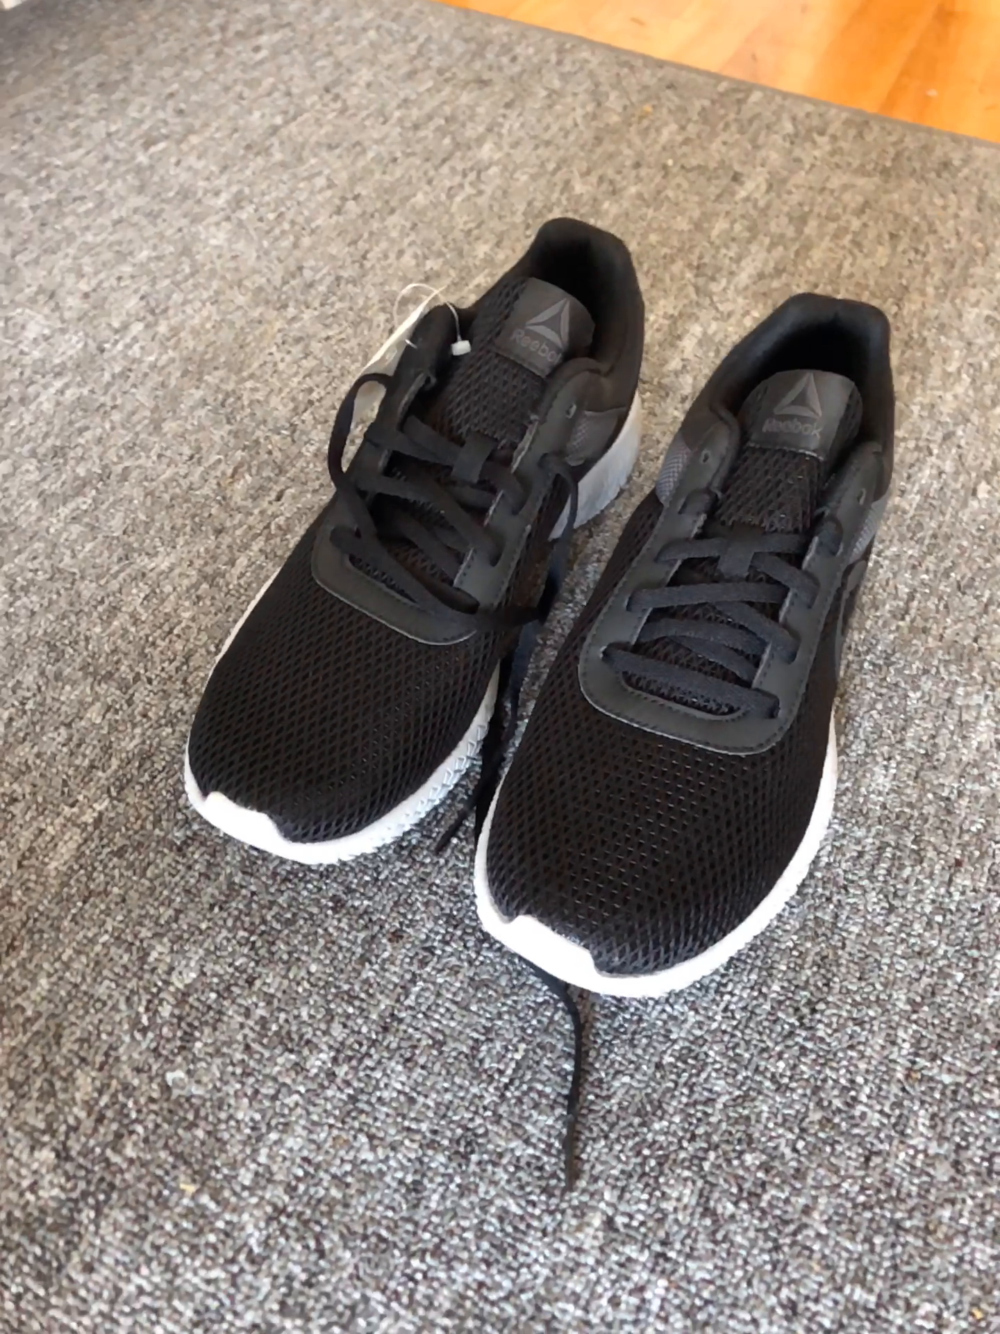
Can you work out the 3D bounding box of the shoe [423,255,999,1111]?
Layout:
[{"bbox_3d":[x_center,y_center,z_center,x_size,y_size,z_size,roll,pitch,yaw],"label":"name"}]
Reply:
[{"bbox_3d":[0.089,-0.018,0.405,0.110,0.099,0.302,20,54,13],"label":"shoe"}]

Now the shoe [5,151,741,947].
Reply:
[{"bbox_3d":[-0.021,-0.067,0.416,0.116,0.099,0.302,22,54,14],"label":"shoe"}]
